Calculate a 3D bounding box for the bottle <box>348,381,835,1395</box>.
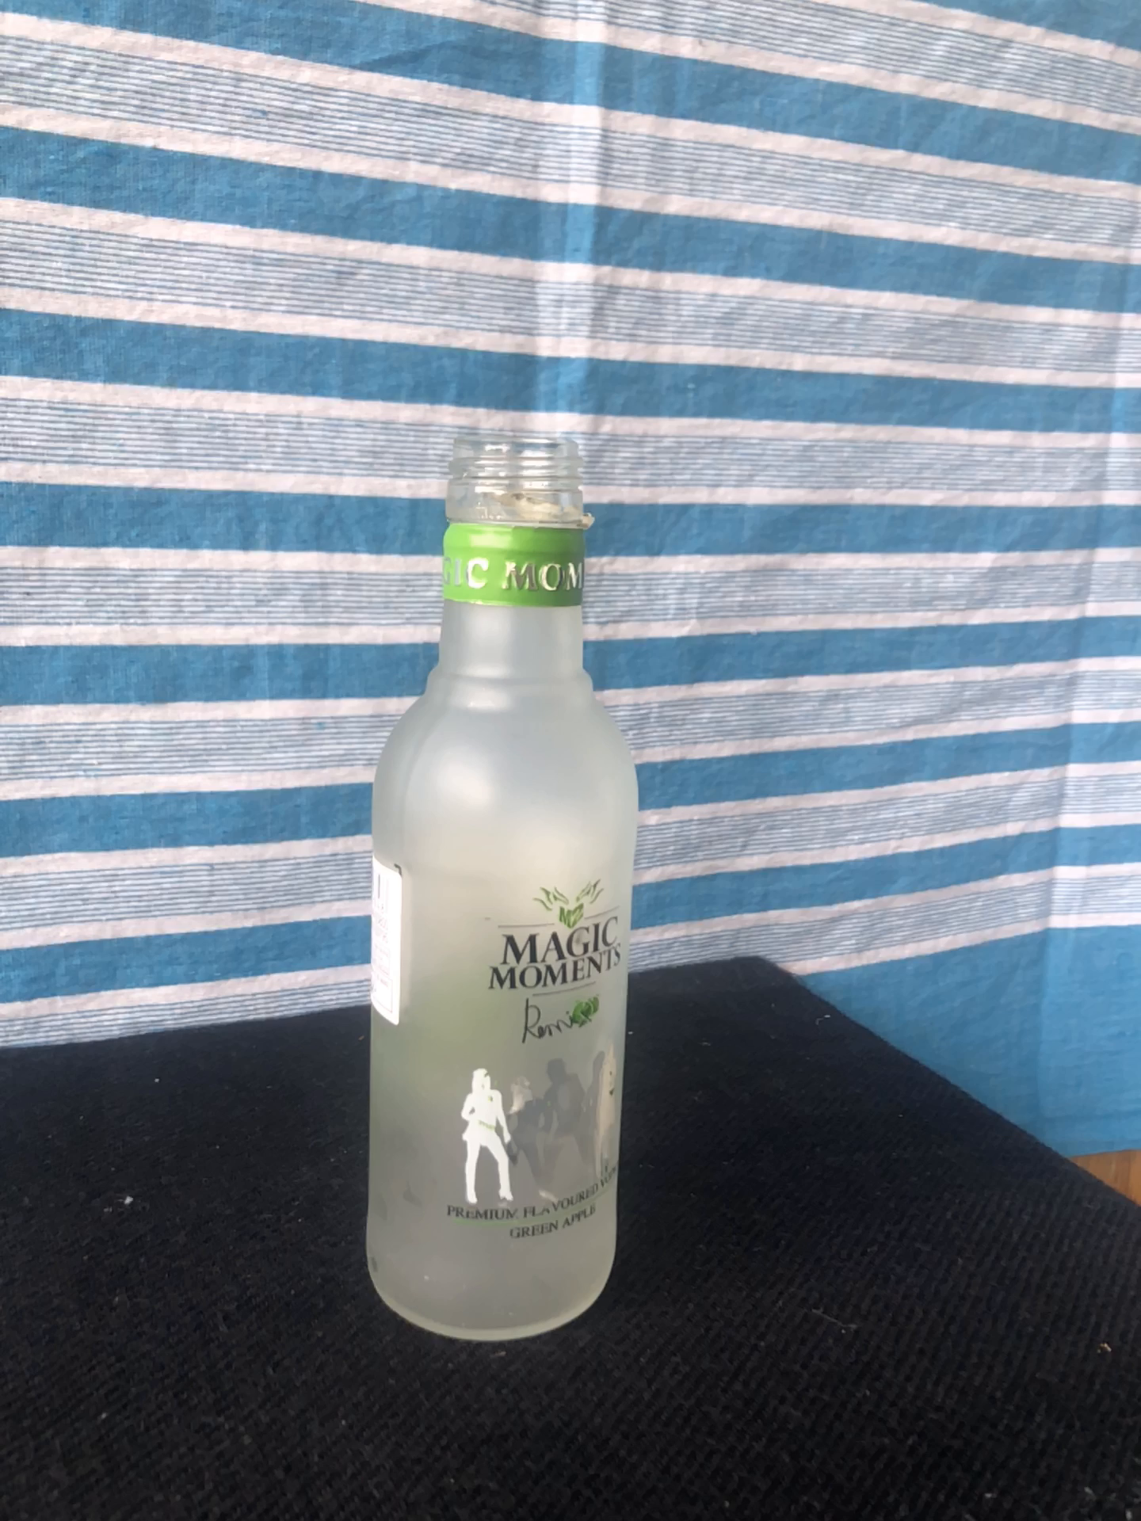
[{"bbox_3d":[-0.002,0.017,0.210,0.050,0.150,0.050,5,13,-1],"label":"bottle"}]
